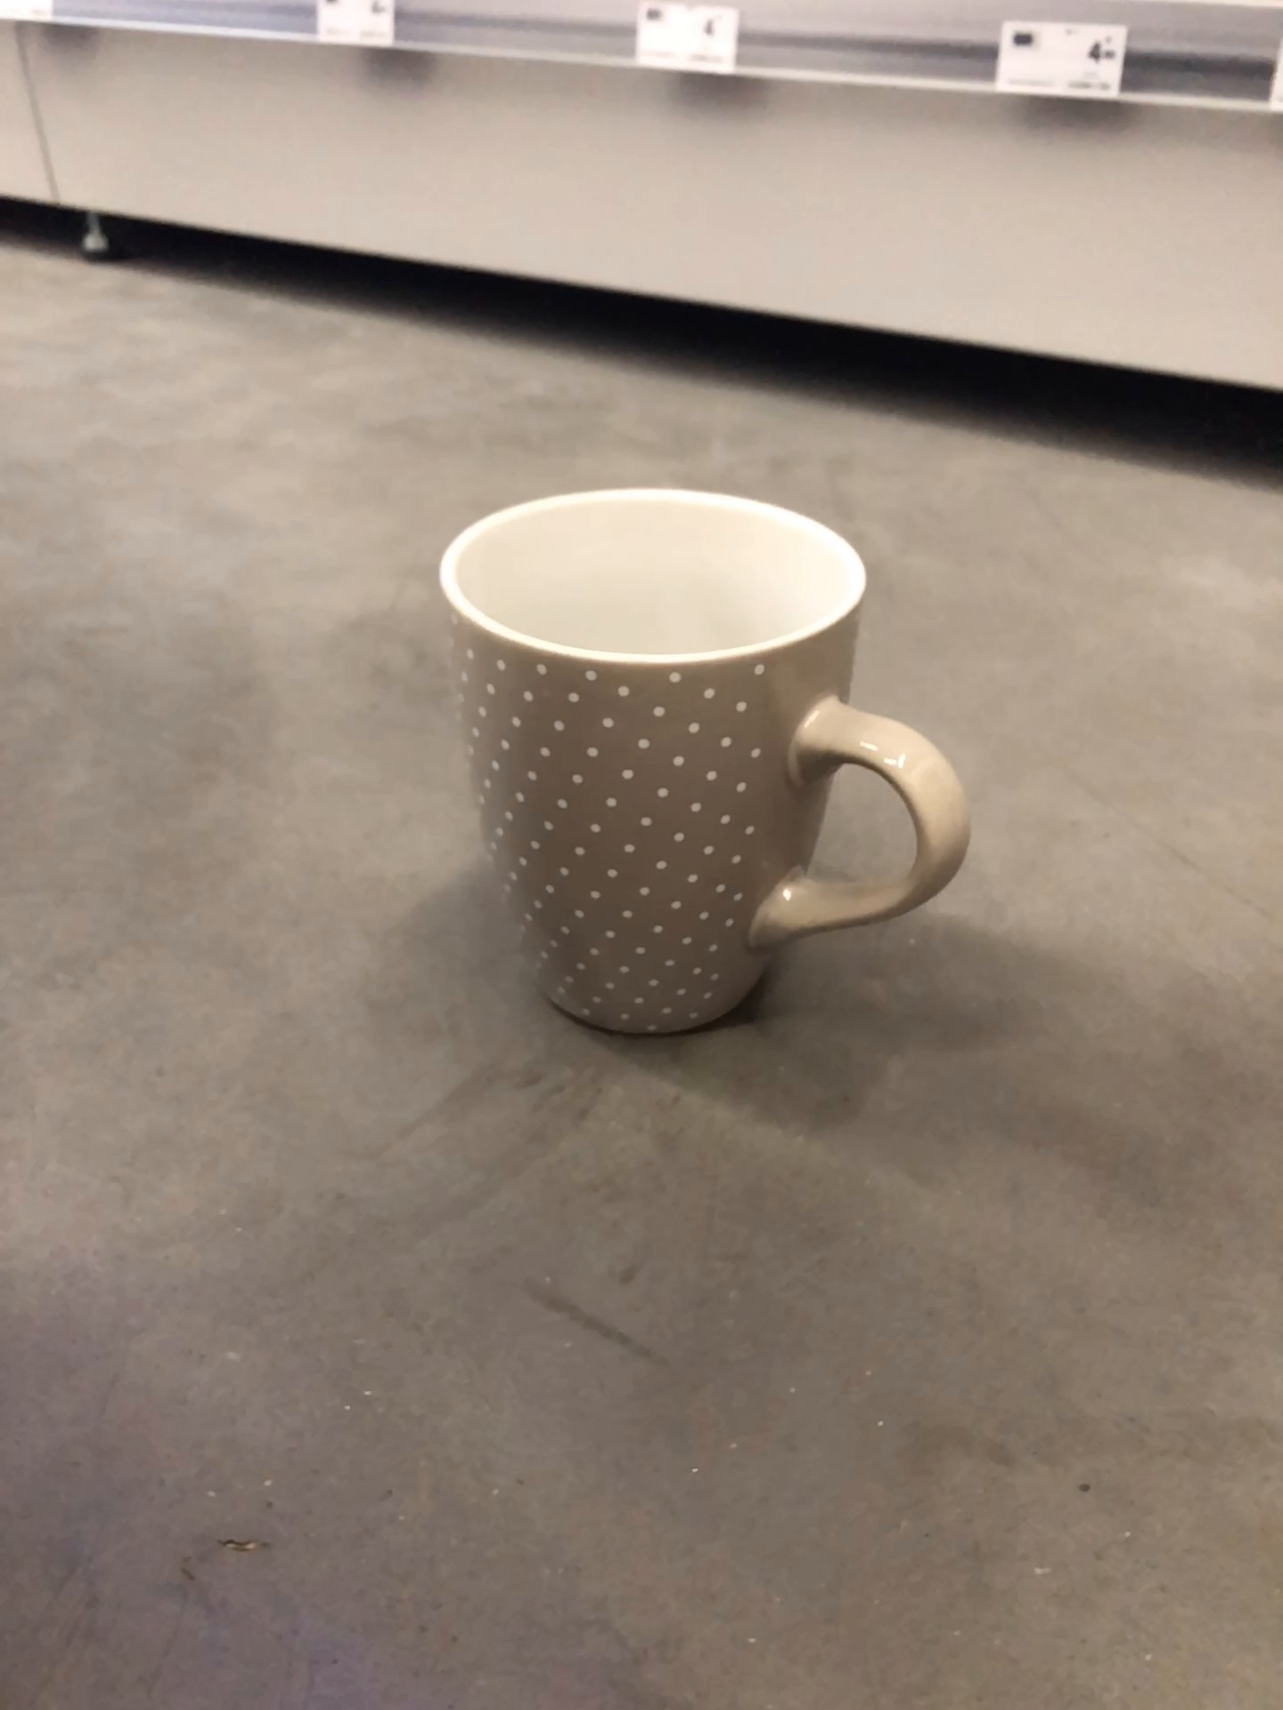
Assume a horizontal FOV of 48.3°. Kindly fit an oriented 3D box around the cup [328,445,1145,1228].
[{"bbox_3d":[0.017,-0.014,0.324,0.141,0.106,0.092,24,40,31],"label":"cup"}]
